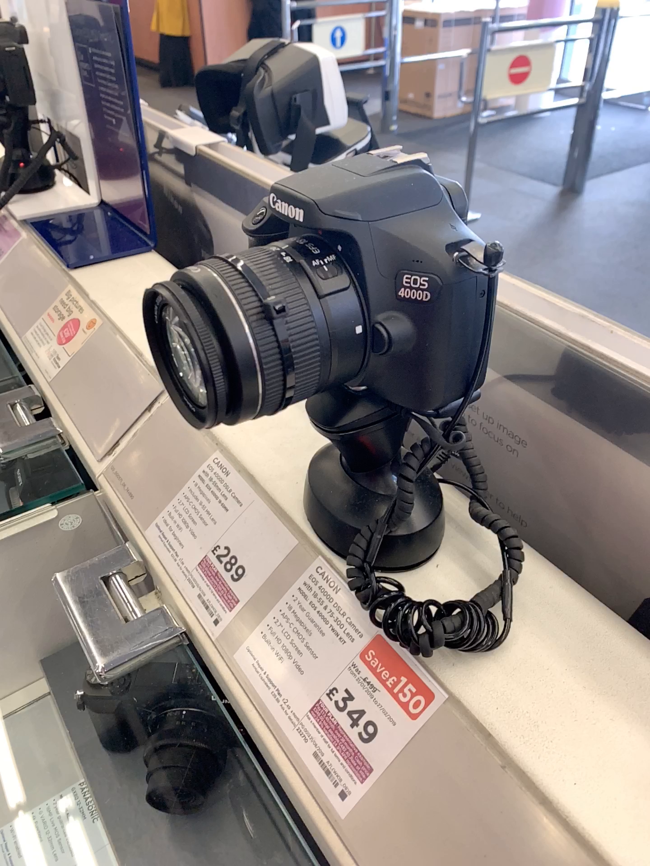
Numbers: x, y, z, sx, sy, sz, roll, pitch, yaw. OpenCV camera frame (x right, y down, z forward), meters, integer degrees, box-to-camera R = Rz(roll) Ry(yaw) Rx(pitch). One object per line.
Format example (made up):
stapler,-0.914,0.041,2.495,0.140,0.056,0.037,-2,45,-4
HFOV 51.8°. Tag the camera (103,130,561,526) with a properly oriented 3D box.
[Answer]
camera,-0.004,-0.062,0.305,0.136,0.101,0.141,-20,40,-24
